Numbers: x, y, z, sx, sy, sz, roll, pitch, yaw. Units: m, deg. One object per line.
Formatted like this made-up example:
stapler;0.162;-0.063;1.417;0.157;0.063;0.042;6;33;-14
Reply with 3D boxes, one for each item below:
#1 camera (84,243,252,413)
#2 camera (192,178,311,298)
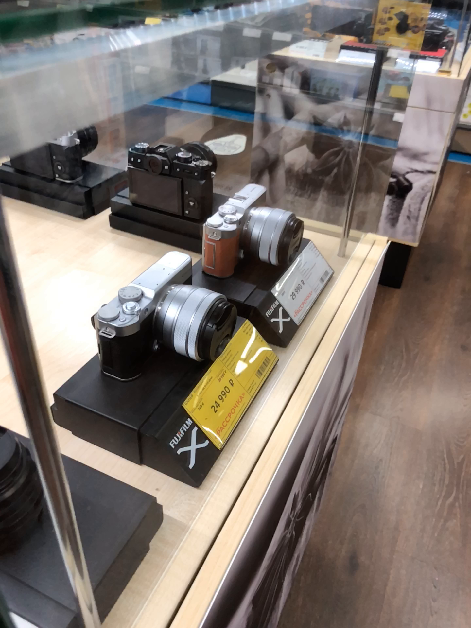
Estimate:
camera;-0.053;0.006;0.453;0.088;0.072;0.121;18;39;19
camera;0.020;-0.092;0.598;0.088;0.072;0.129;18;39;19
